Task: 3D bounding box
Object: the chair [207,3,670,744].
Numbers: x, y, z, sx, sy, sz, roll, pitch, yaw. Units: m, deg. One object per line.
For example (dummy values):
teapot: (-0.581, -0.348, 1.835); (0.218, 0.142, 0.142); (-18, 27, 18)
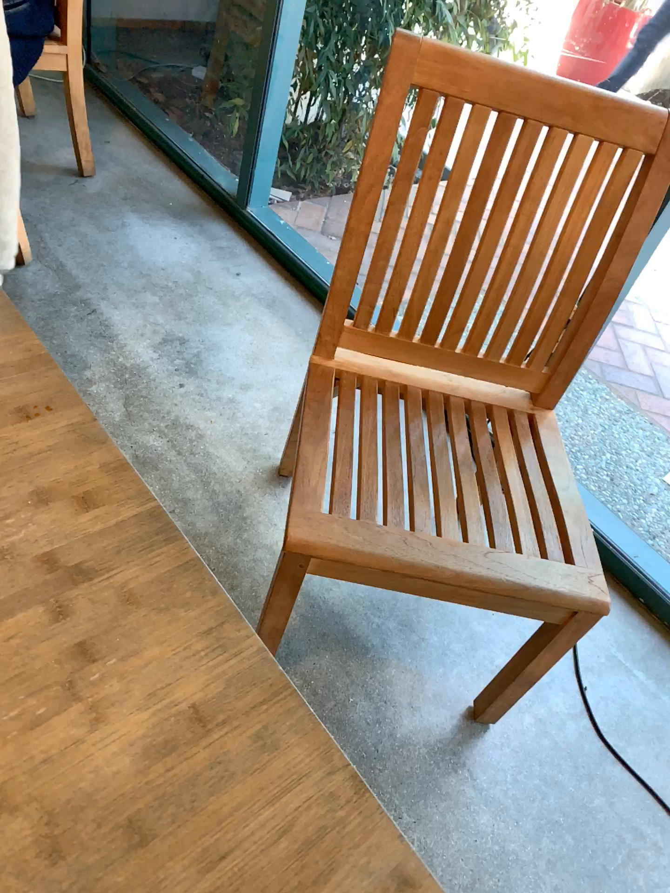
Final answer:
chair: (0.171, -0.049, 1.103); (0.530, 0.915, 0.613); (13, 44, -7)
